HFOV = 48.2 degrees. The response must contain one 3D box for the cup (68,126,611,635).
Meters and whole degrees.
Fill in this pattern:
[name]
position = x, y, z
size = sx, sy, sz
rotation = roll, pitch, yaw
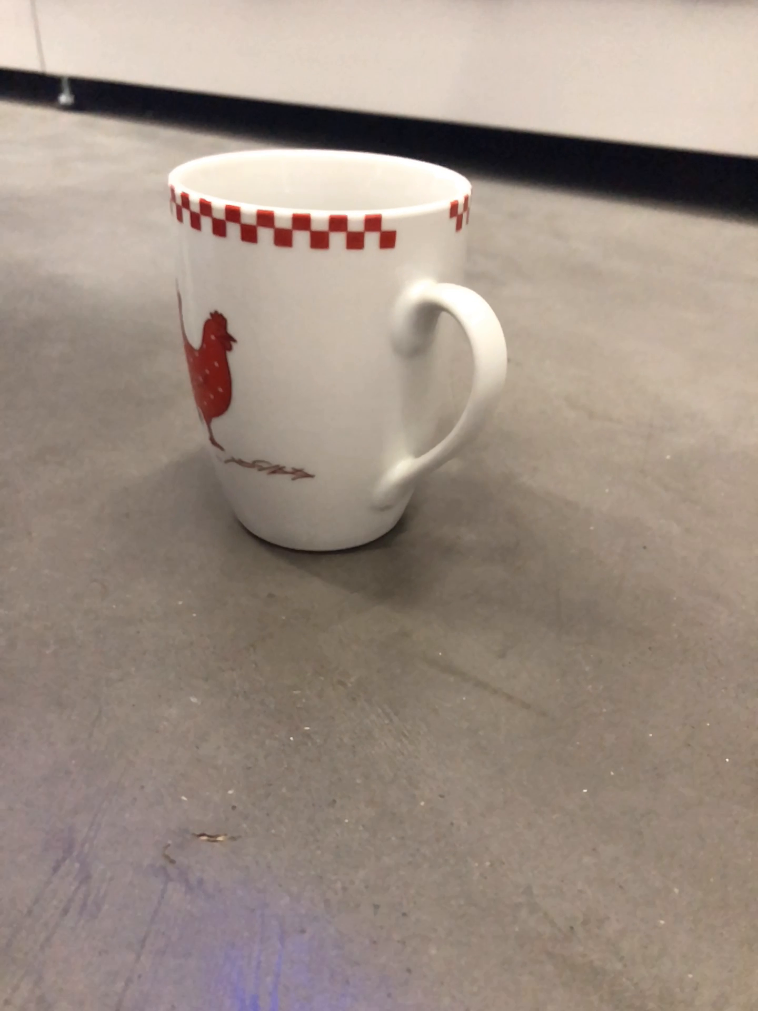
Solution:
[cup]
position = -0.013, -0.044, 0.232
size = 0.088, 0.092, 0.103
rotation = -25, 40, -37
